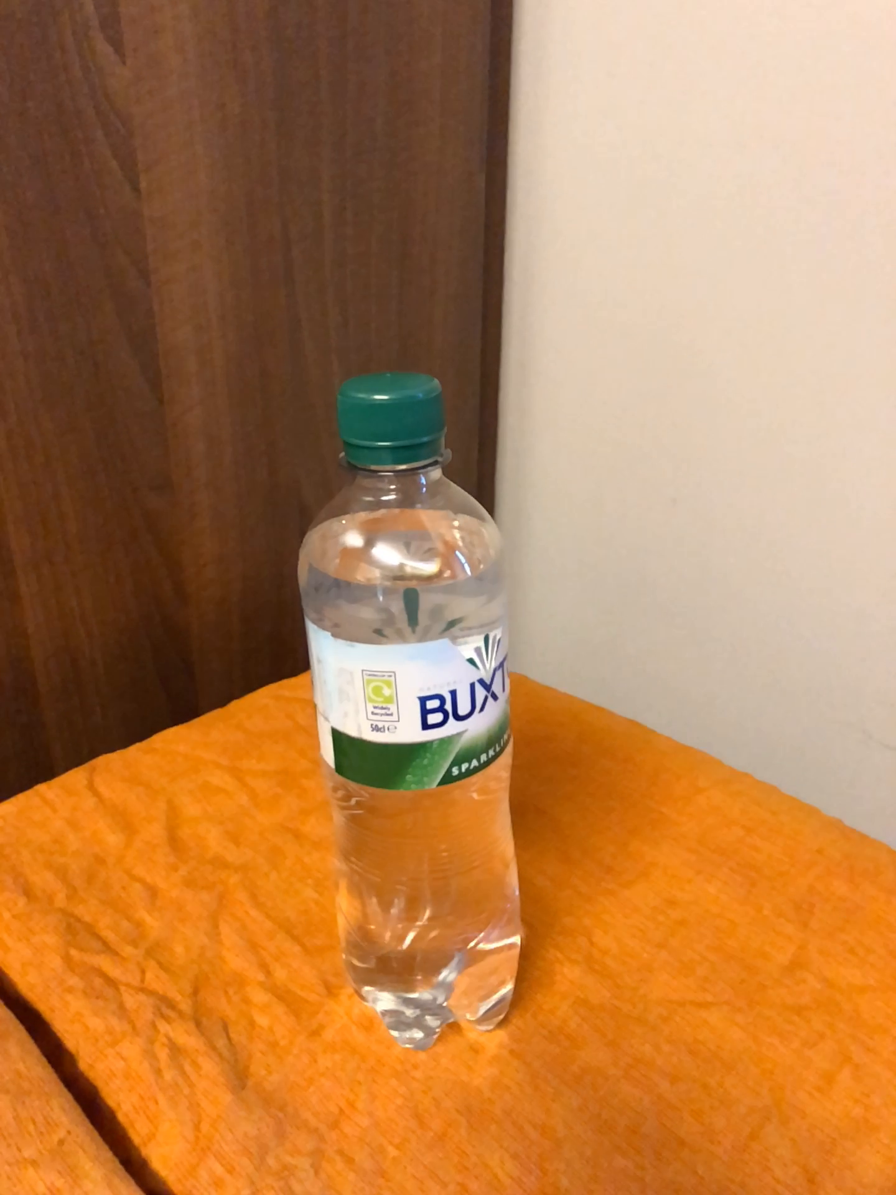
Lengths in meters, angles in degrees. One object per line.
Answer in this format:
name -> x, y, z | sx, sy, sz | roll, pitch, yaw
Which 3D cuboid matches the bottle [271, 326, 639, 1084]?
bottle -> 0.000, 0.035, 0.314 | 0.070, 0.218, 0.070 | 1, 26, 0
